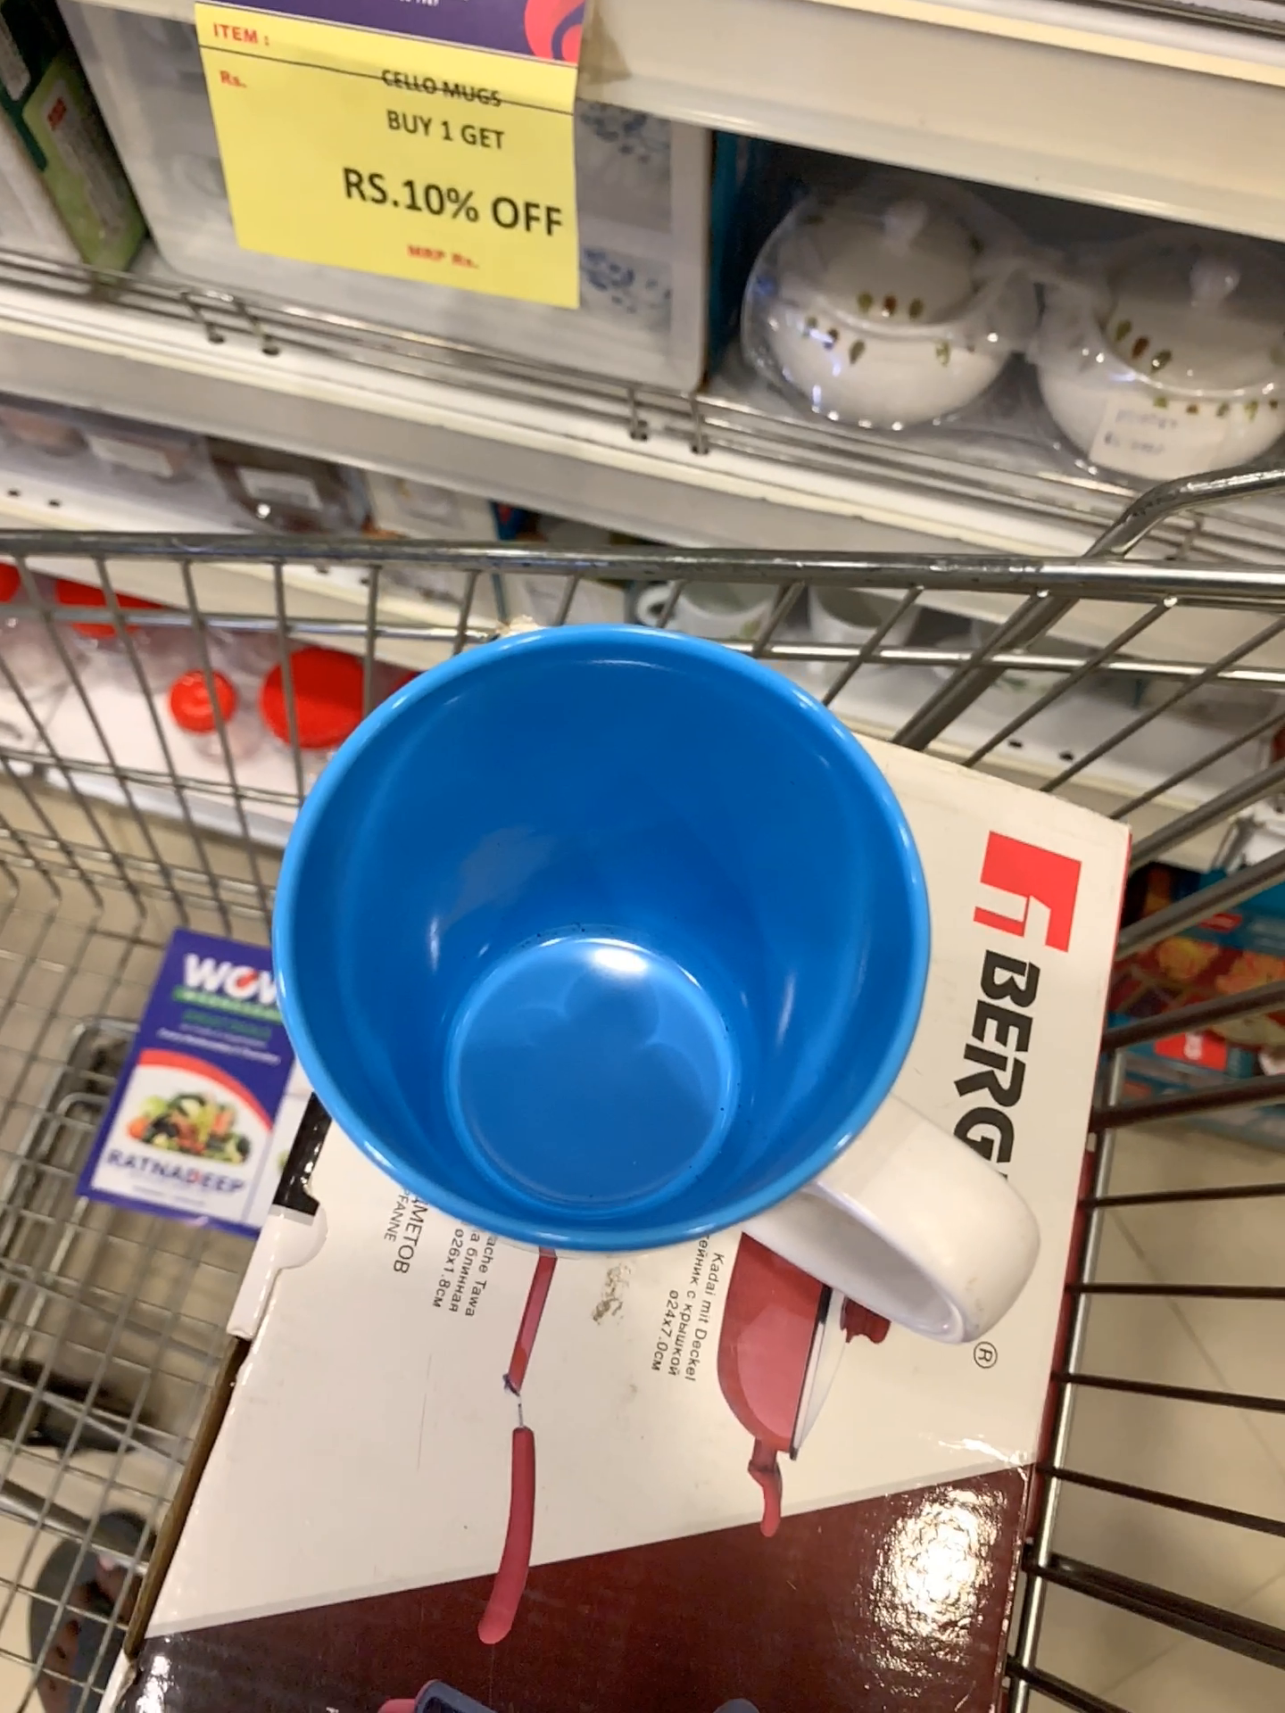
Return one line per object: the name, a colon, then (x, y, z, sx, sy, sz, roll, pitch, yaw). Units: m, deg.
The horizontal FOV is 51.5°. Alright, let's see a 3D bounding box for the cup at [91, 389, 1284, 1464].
cup: (0.008, 0.017, 0.202, 0.120, 0.100, 0.080, 30, 72, 9)
